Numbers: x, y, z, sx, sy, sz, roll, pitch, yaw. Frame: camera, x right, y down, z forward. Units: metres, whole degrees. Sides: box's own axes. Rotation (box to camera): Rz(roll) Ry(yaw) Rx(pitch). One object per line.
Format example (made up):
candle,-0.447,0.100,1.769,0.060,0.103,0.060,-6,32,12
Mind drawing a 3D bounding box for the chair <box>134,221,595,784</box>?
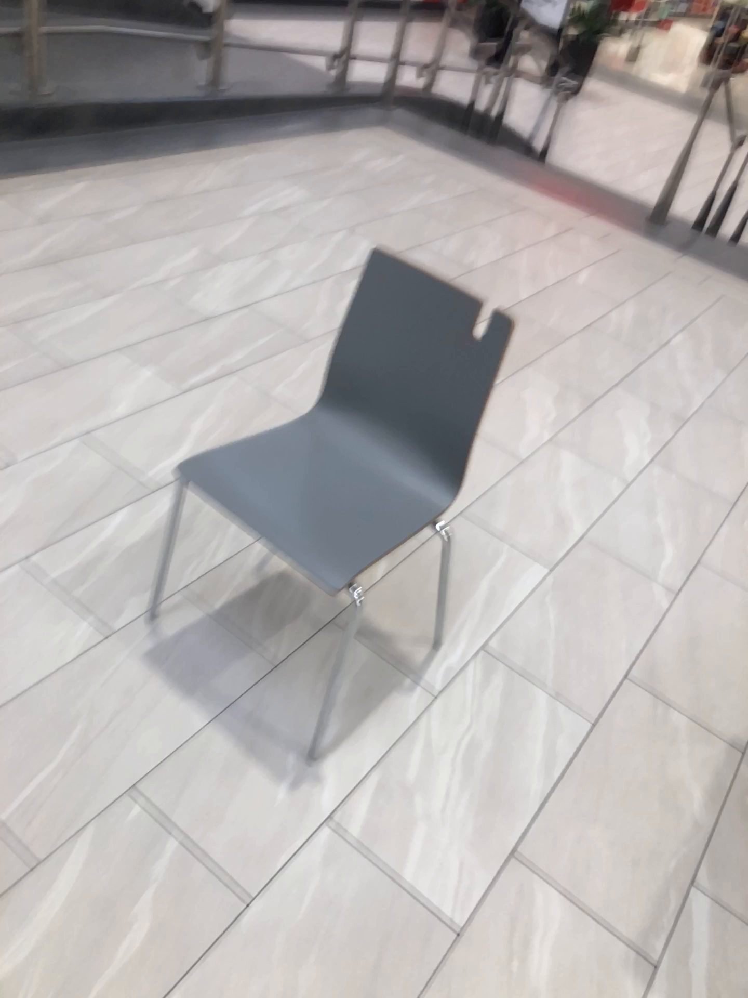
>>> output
chair,-0.064,-0.011,1.568,0.525,0.787,0.517,34,41,24
